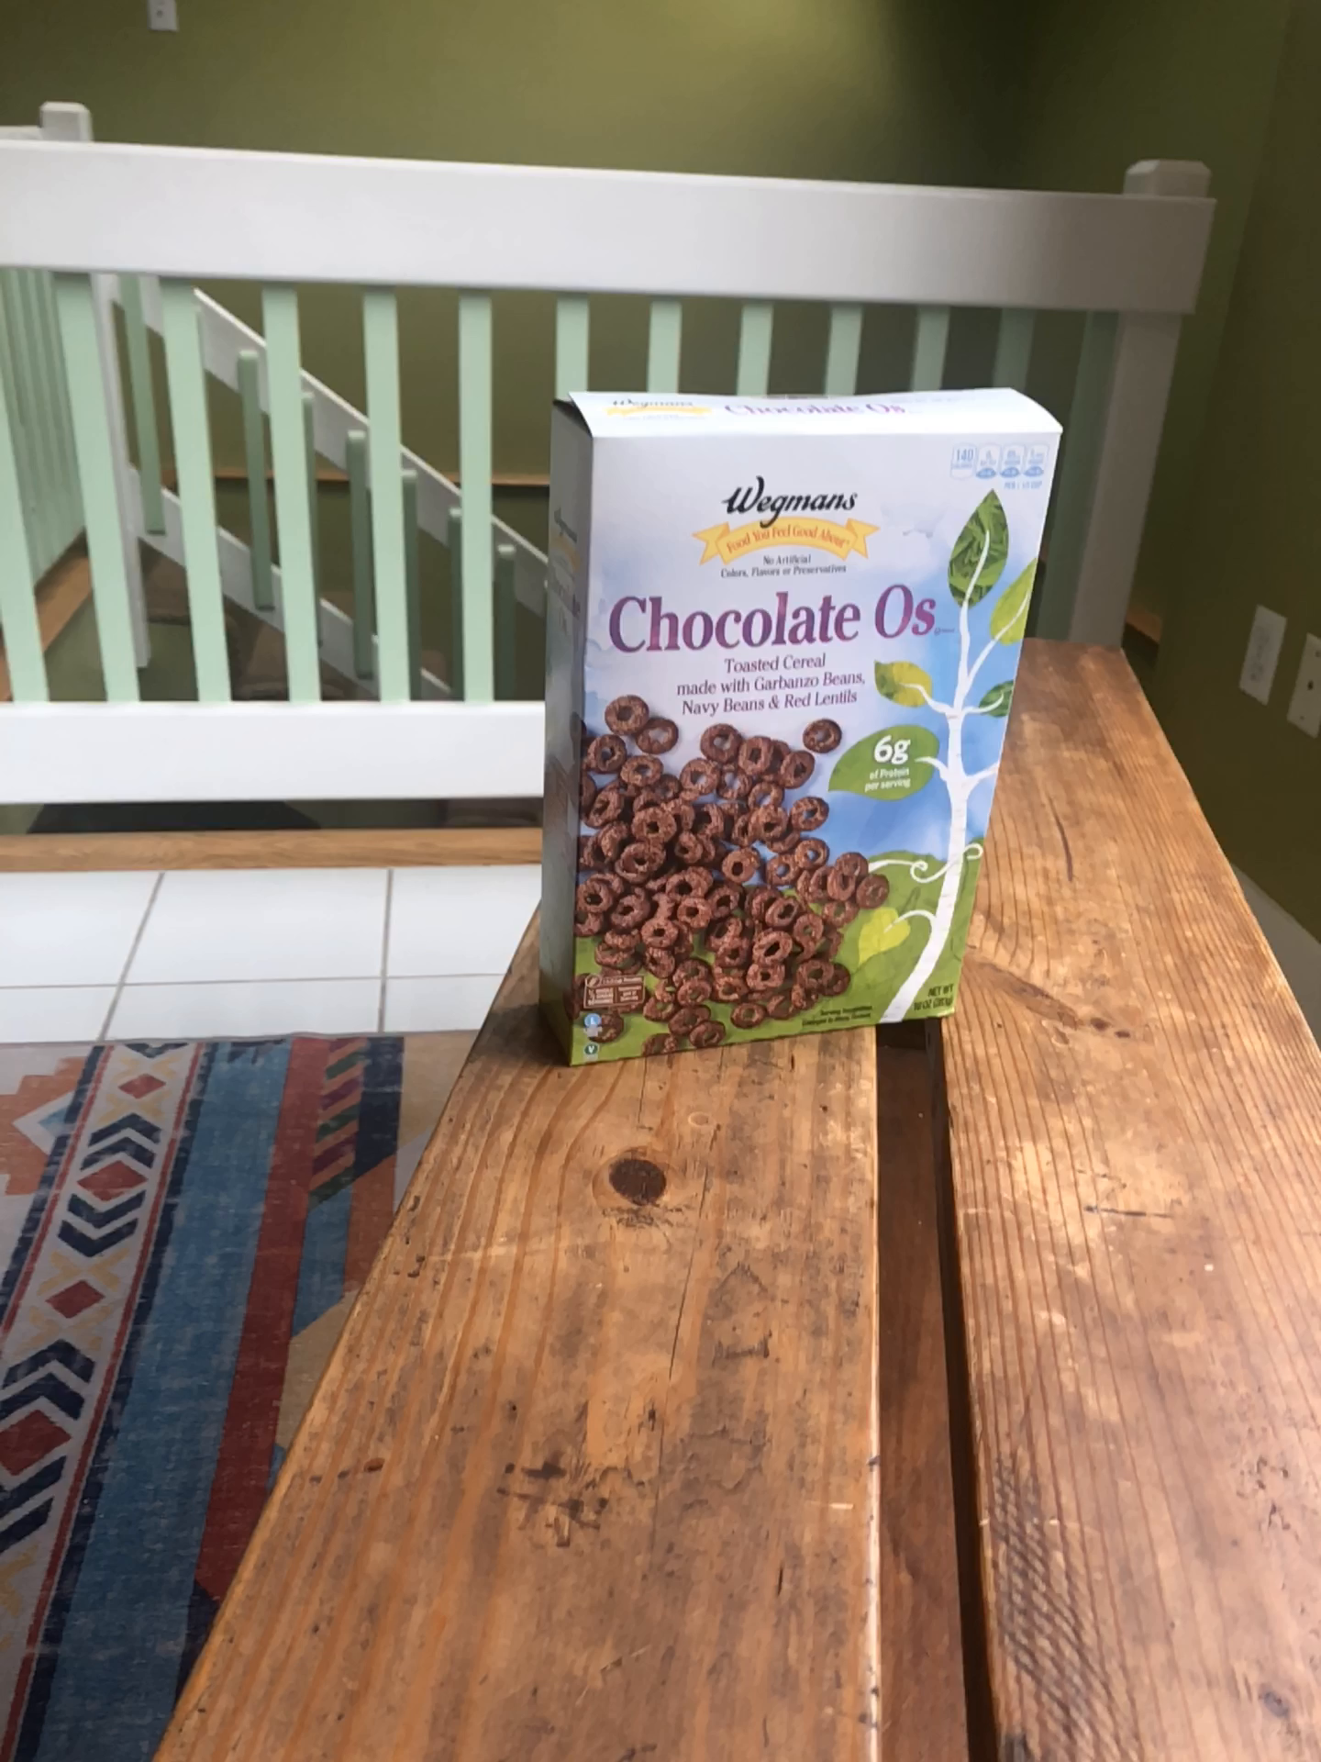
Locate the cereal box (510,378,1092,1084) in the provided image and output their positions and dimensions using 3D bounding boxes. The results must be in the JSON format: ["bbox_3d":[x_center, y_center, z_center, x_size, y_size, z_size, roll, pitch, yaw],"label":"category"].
[{"bbox_3d":[0.048,-0.061,0.612,0.210,0.278,0.060,-6,29,-18],"label":"cereal box"}]
